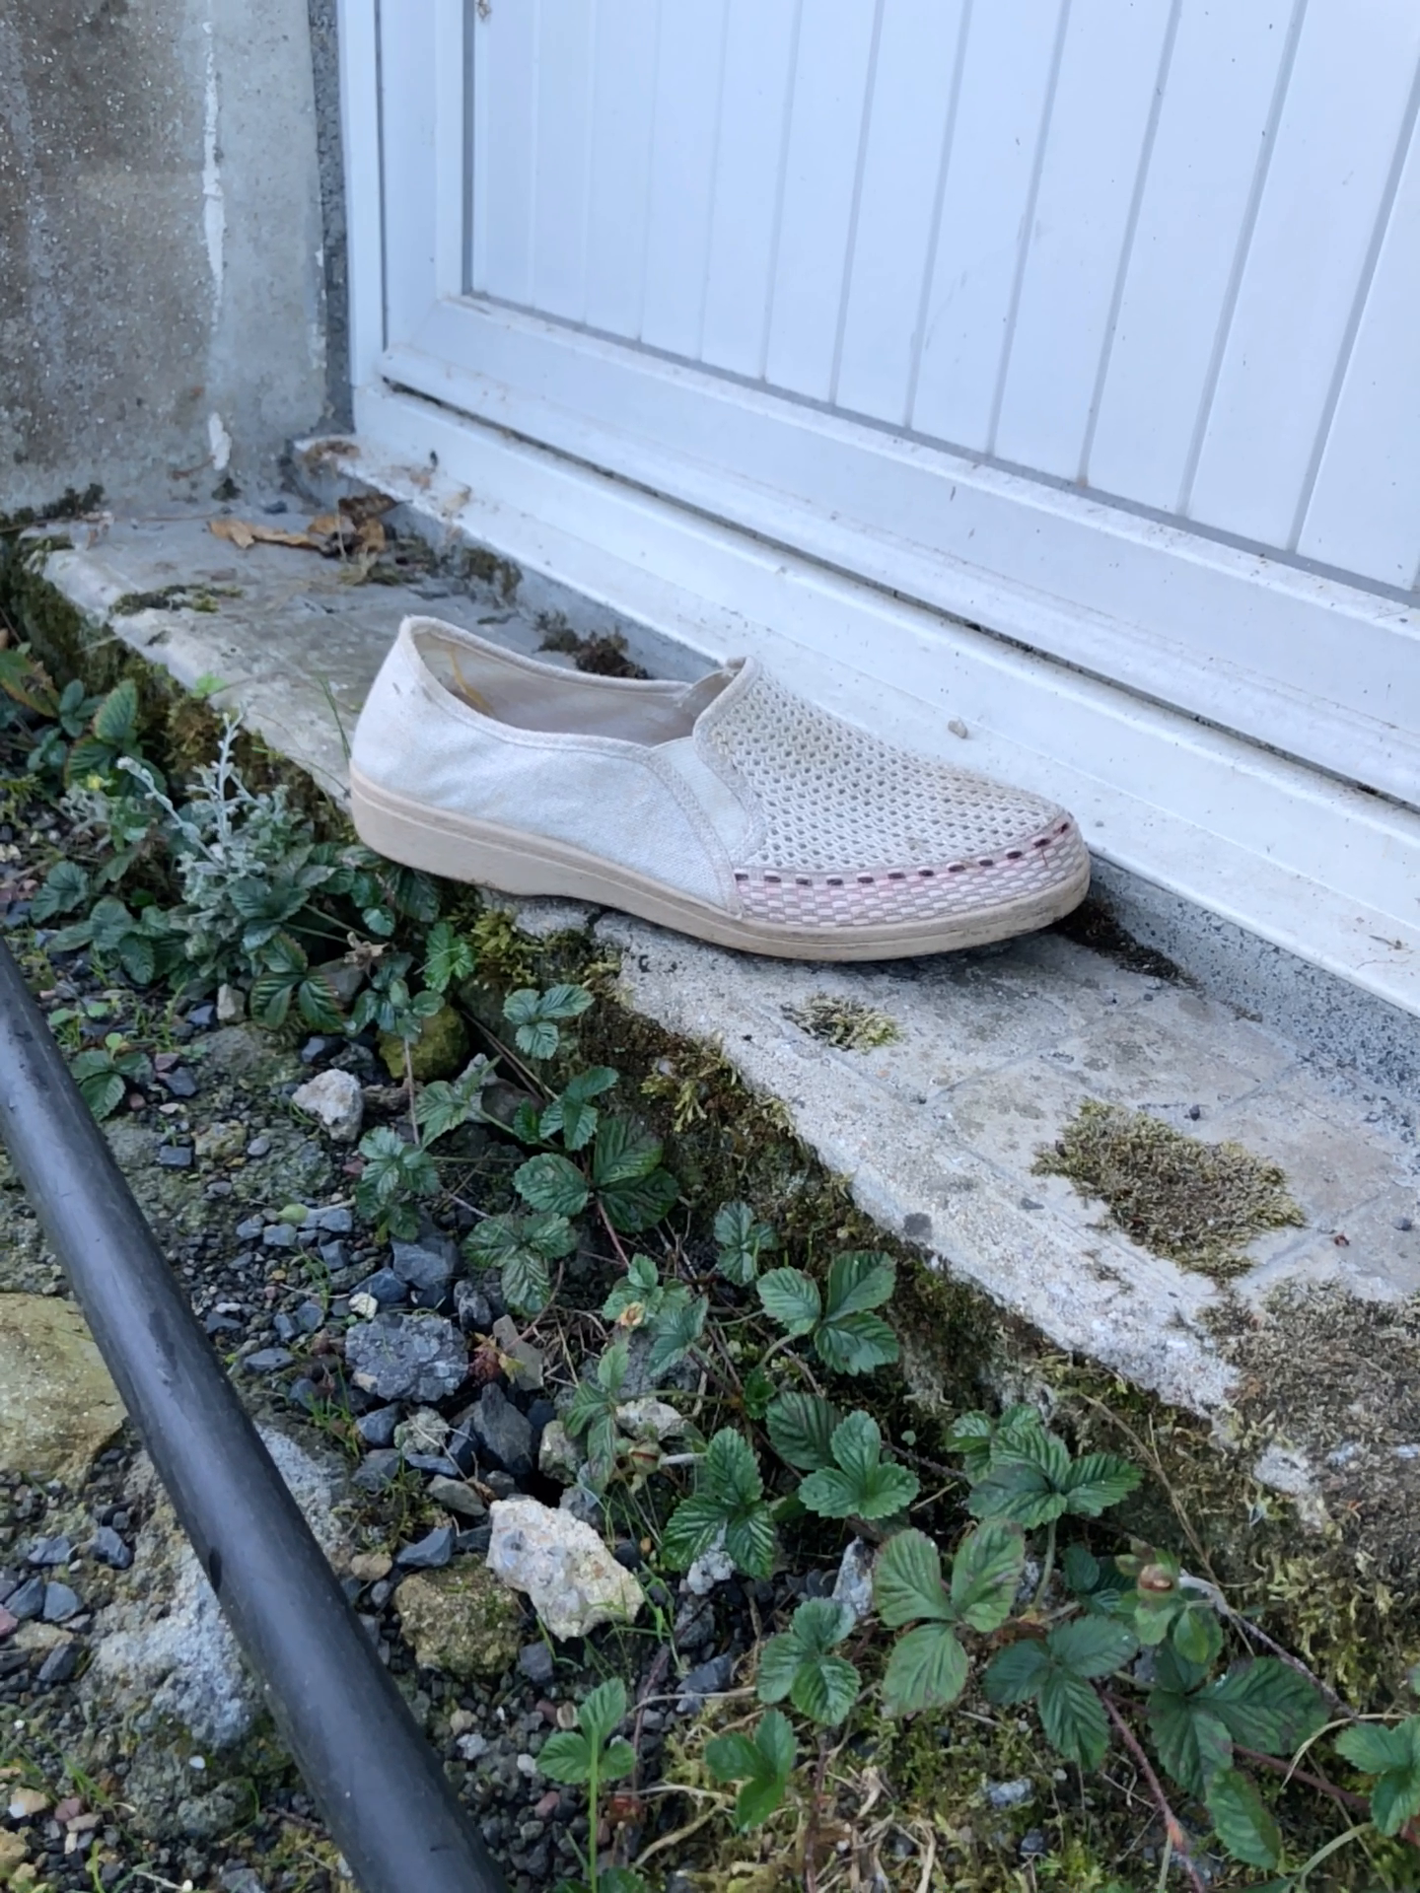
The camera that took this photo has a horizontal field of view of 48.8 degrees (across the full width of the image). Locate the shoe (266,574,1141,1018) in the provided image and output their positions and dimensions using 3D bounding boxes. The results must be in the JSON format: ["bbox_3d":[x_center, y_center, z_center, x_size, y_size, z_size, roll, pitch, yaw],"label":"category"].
[{"bbox_3d":[0.000,-0.059,0.552,0.280,0.080,0.101,10,30,7],"label":"shoe"}]
